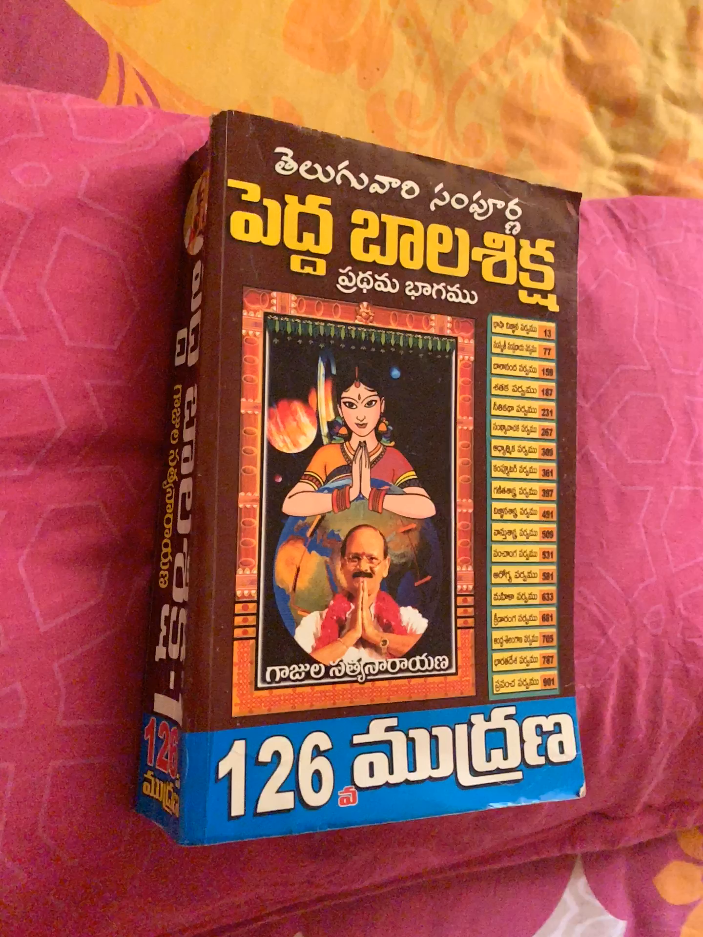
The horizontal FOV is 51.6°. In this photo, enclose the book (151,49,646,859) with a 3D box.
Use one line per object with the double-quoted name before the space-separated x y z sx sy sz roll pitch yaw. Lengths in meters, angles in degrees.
"book" 0.023 -0.005 0.286 0.180 0.050 0.260 4 83 -21
